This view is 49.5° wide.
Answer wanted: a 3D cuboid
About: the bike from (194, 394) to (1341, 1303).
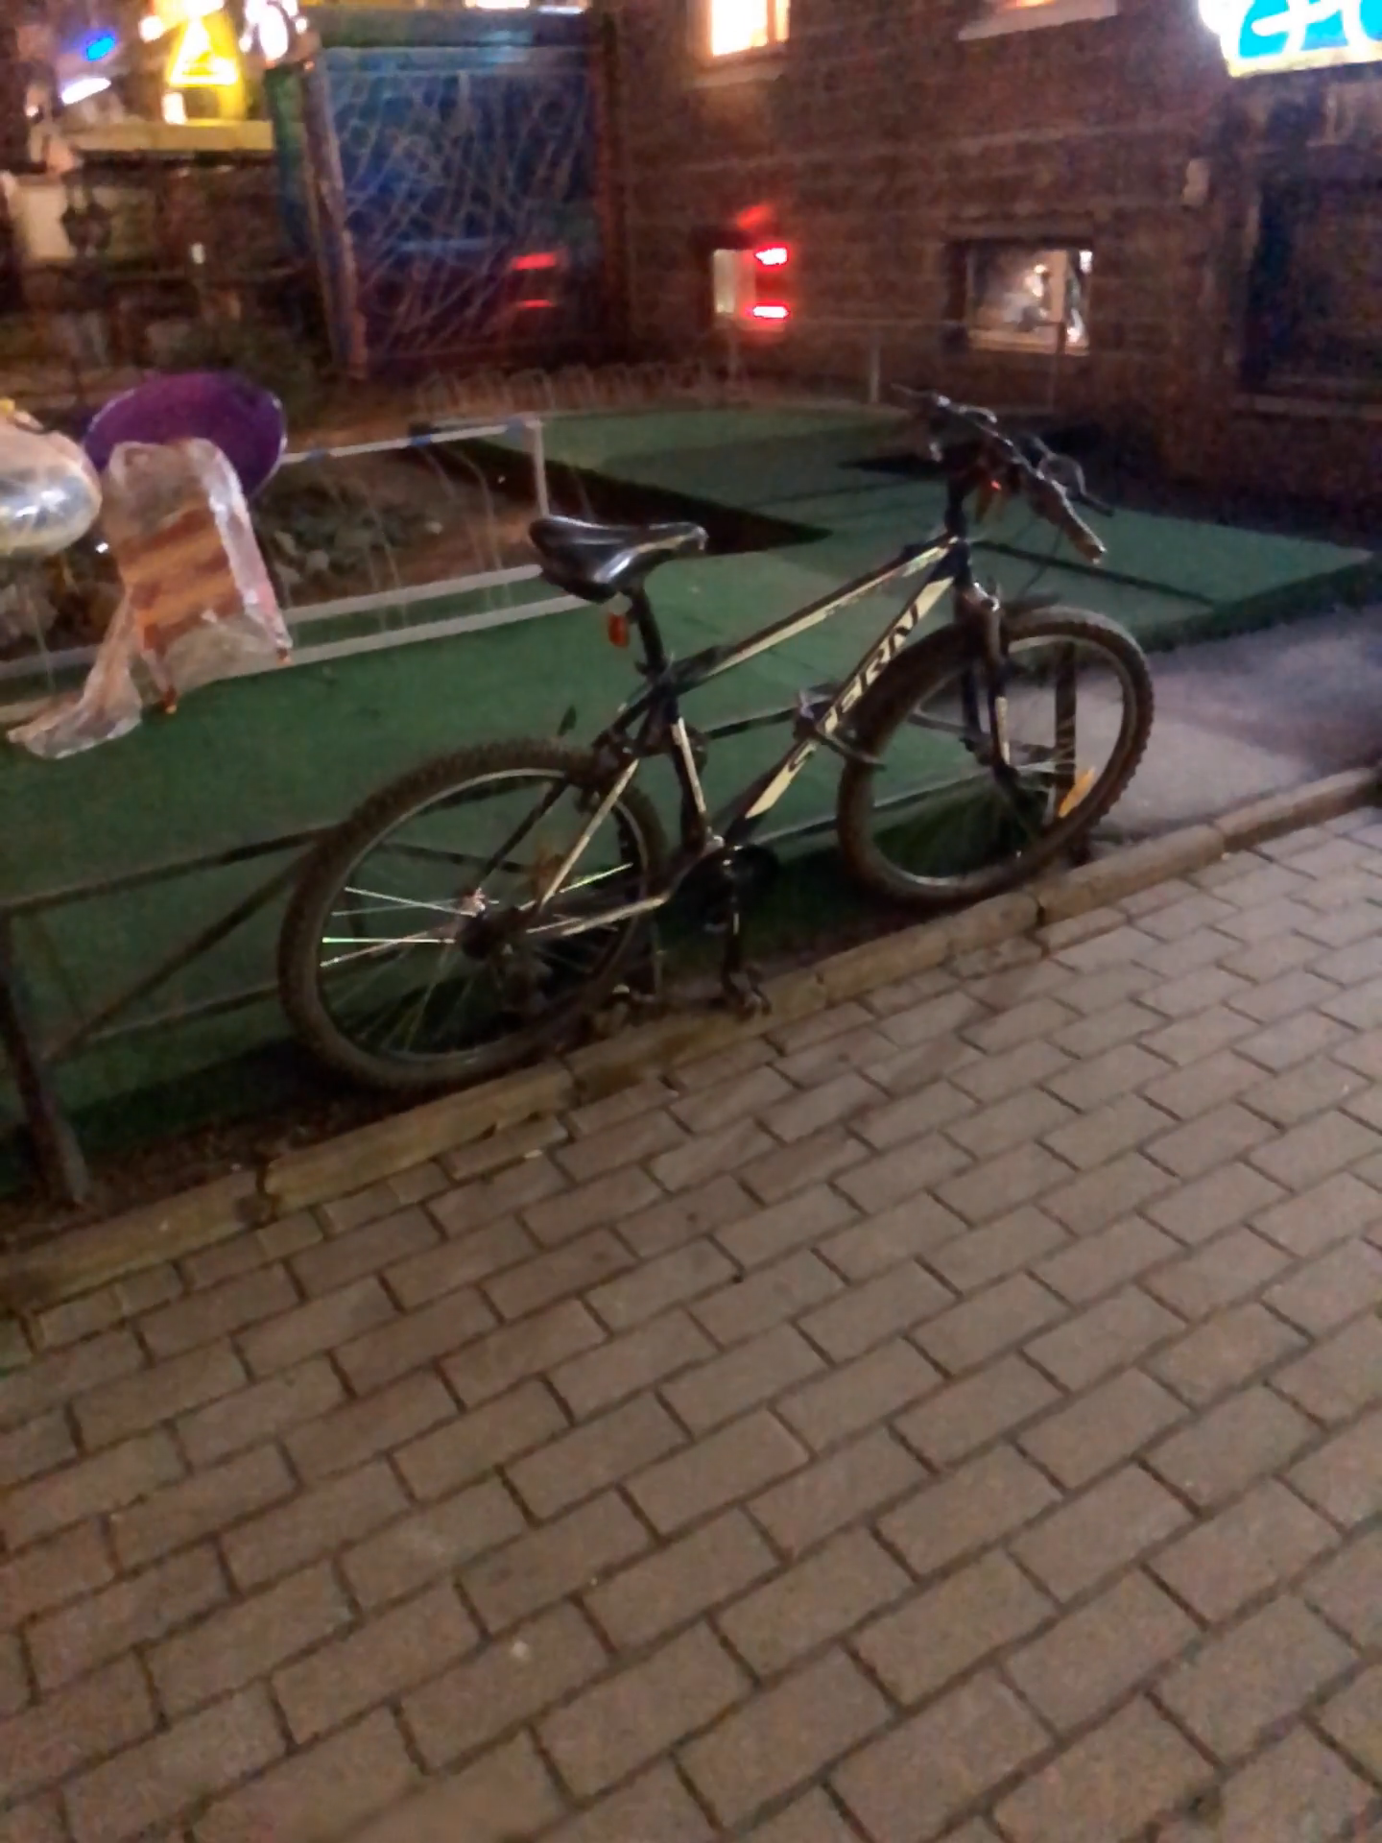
[{"bbox_3d":[0.167,-0.222,2.114,1.457,0.883,0.532,-15,26,-28],"label":"bike"}]
